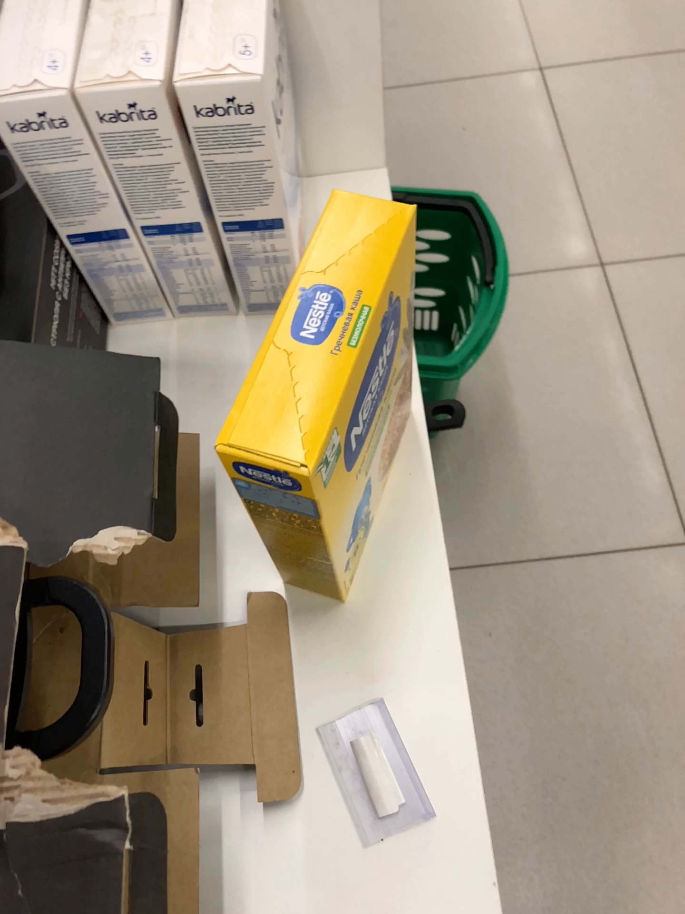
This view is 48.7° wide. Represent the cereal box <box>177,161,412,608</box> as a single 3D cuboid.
[{"bbox_3d":[-0.009,-0.023,0.407,0.050,0.199,0.150,15,66,12],"label":"cereal box"}]
